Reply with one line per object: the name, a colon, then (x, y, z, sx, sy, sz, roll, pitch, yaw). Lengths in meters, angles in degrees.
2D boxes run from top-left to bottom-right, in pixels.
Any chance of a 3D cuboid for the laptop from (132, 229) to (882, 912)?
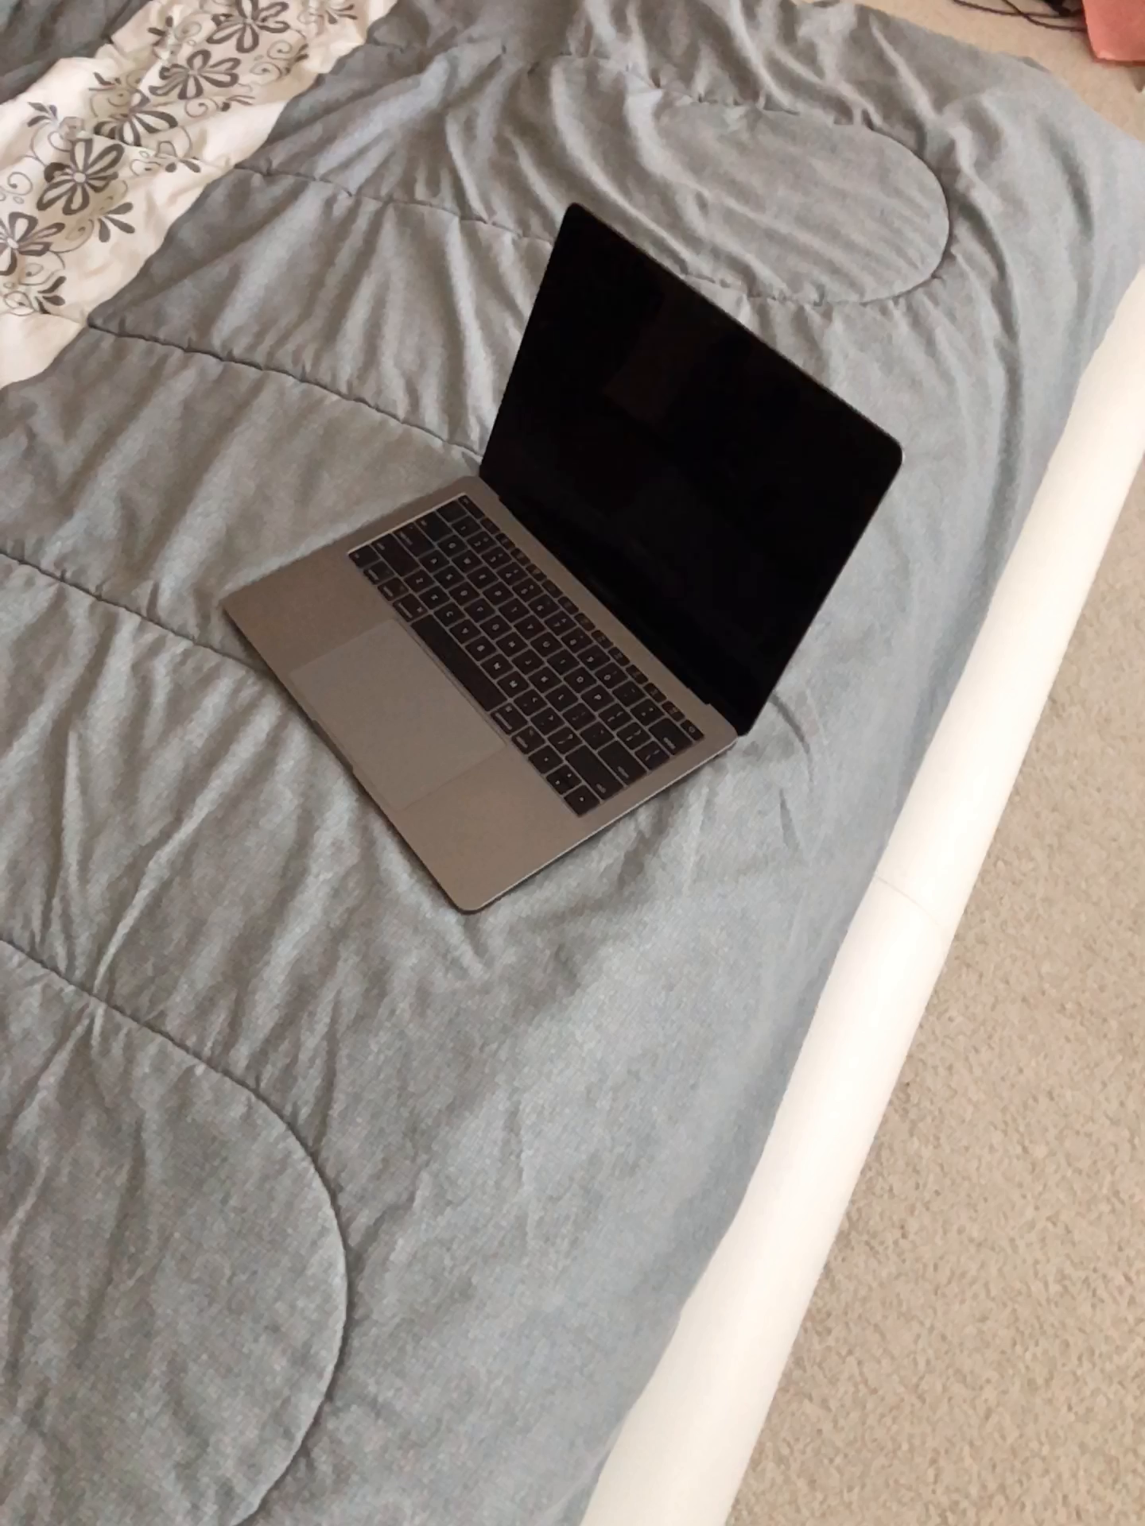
laptop: (-0.033, -0.123, 0.728, 0.281, 0.159, 0.280, -33, 61, -18)
